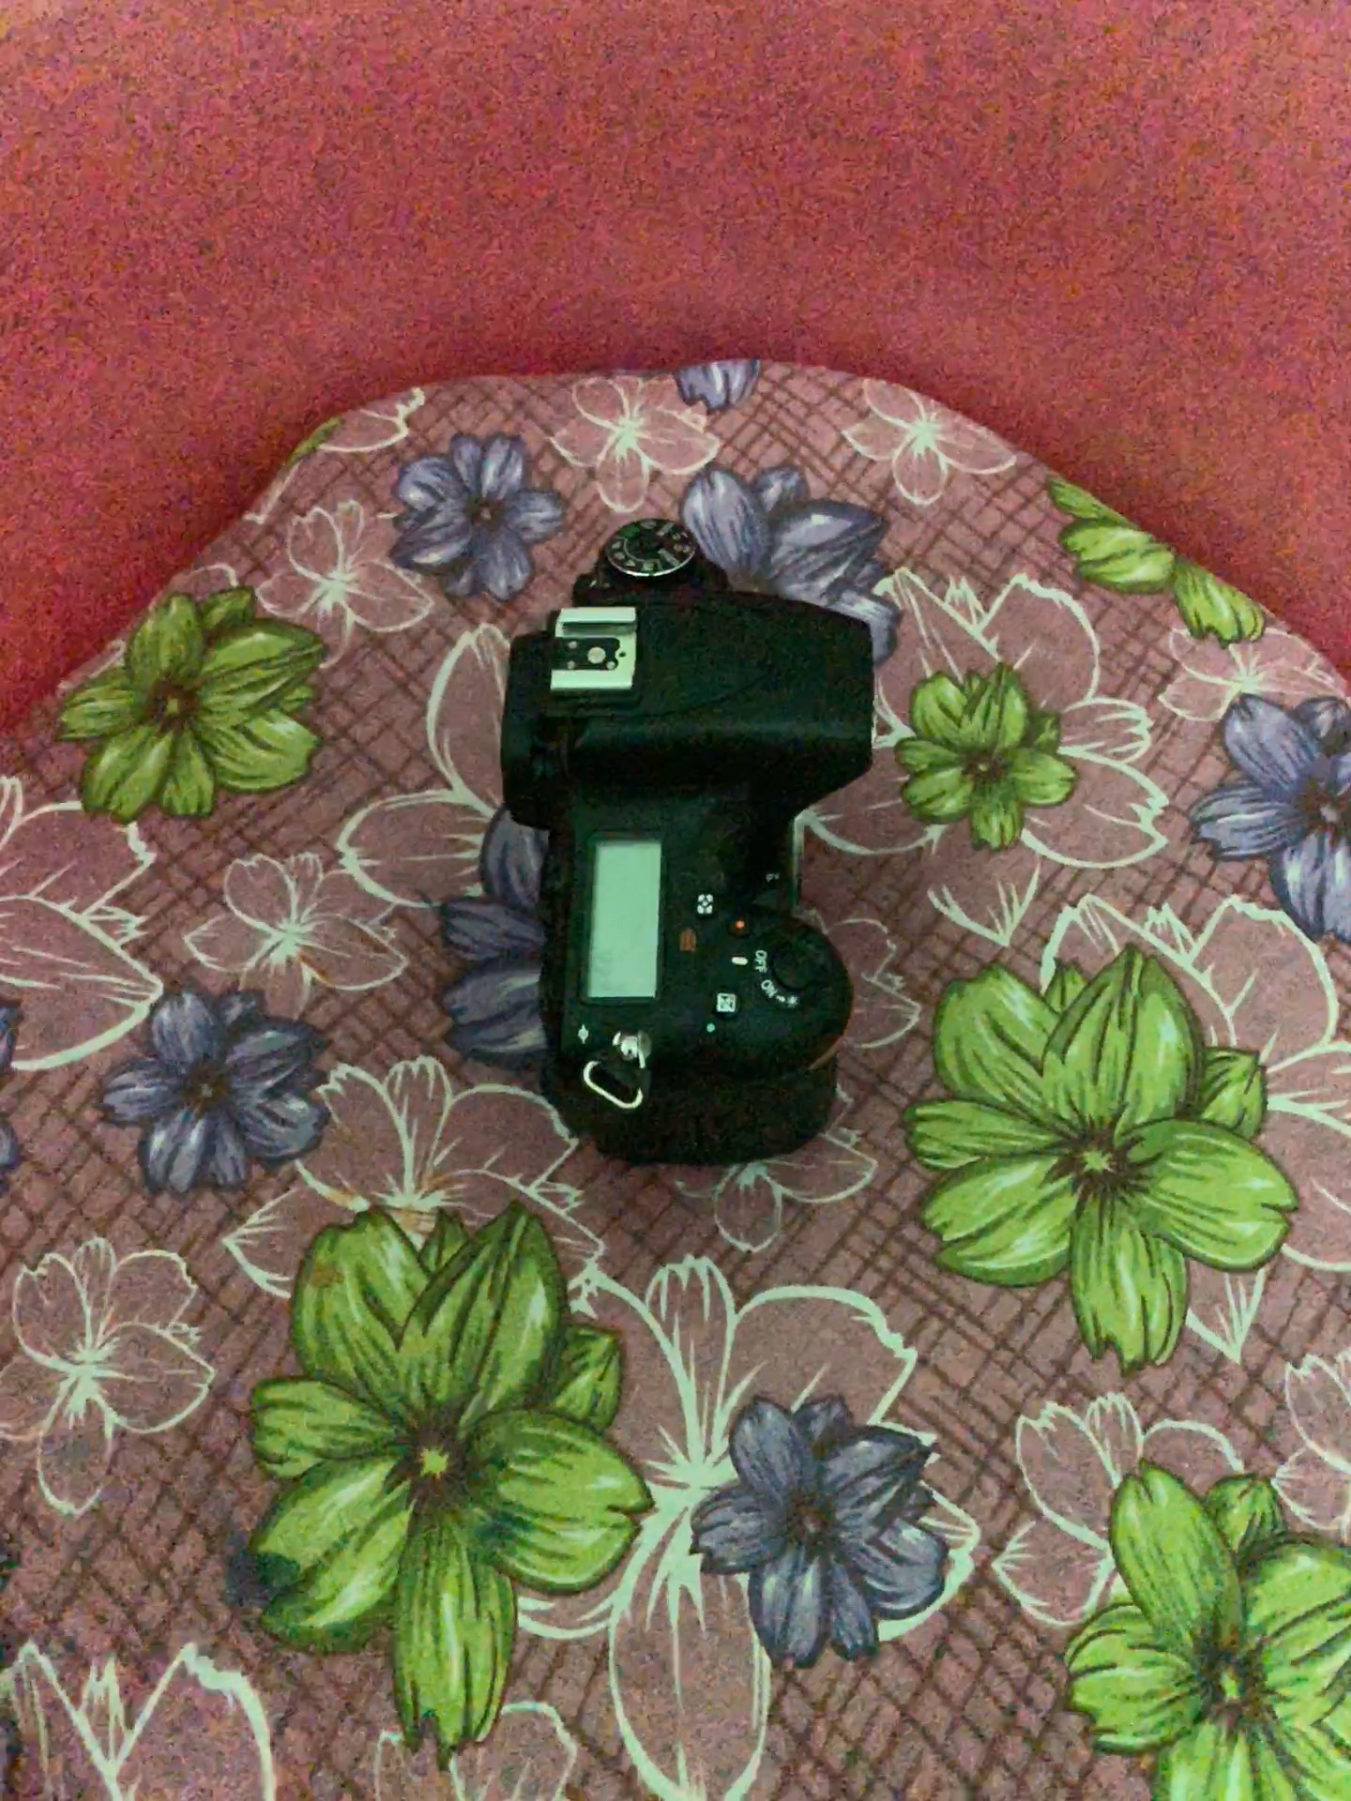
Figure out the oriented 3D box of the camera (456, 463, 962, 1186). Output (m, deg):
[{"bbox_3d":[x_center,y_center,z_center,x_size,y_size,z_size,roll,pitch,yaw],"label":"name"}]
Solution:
[{"bbox_3d":[0.003,-0.013,0.320,0.092,0.090,0.140,1,69,-4],"label":"camera"}]
